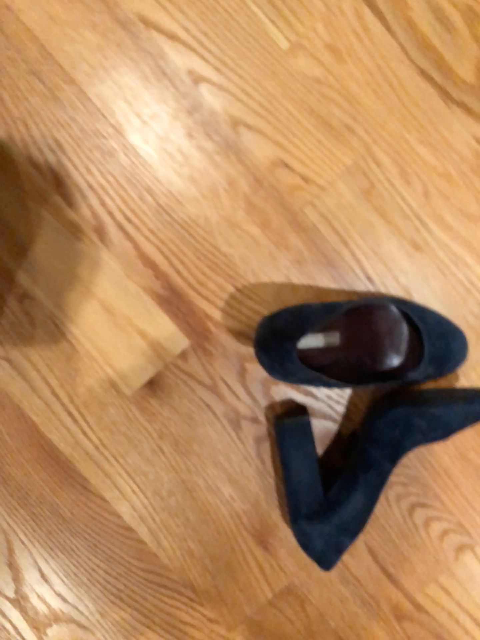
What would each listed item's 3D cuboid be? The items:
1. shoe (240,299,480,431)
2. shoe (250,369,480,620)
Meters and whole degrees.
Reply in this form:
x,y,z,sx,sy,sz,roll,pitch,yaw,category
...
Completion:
x,y,z,sx,sy,sz,roll,pitch,yaw,category
0.115,0.028,0.433,0.226,0.147,0.080,1,95,-1,shoe
0.126,0.146,0.472,0.204,0.080,0.152,-12,95,0,shoe
